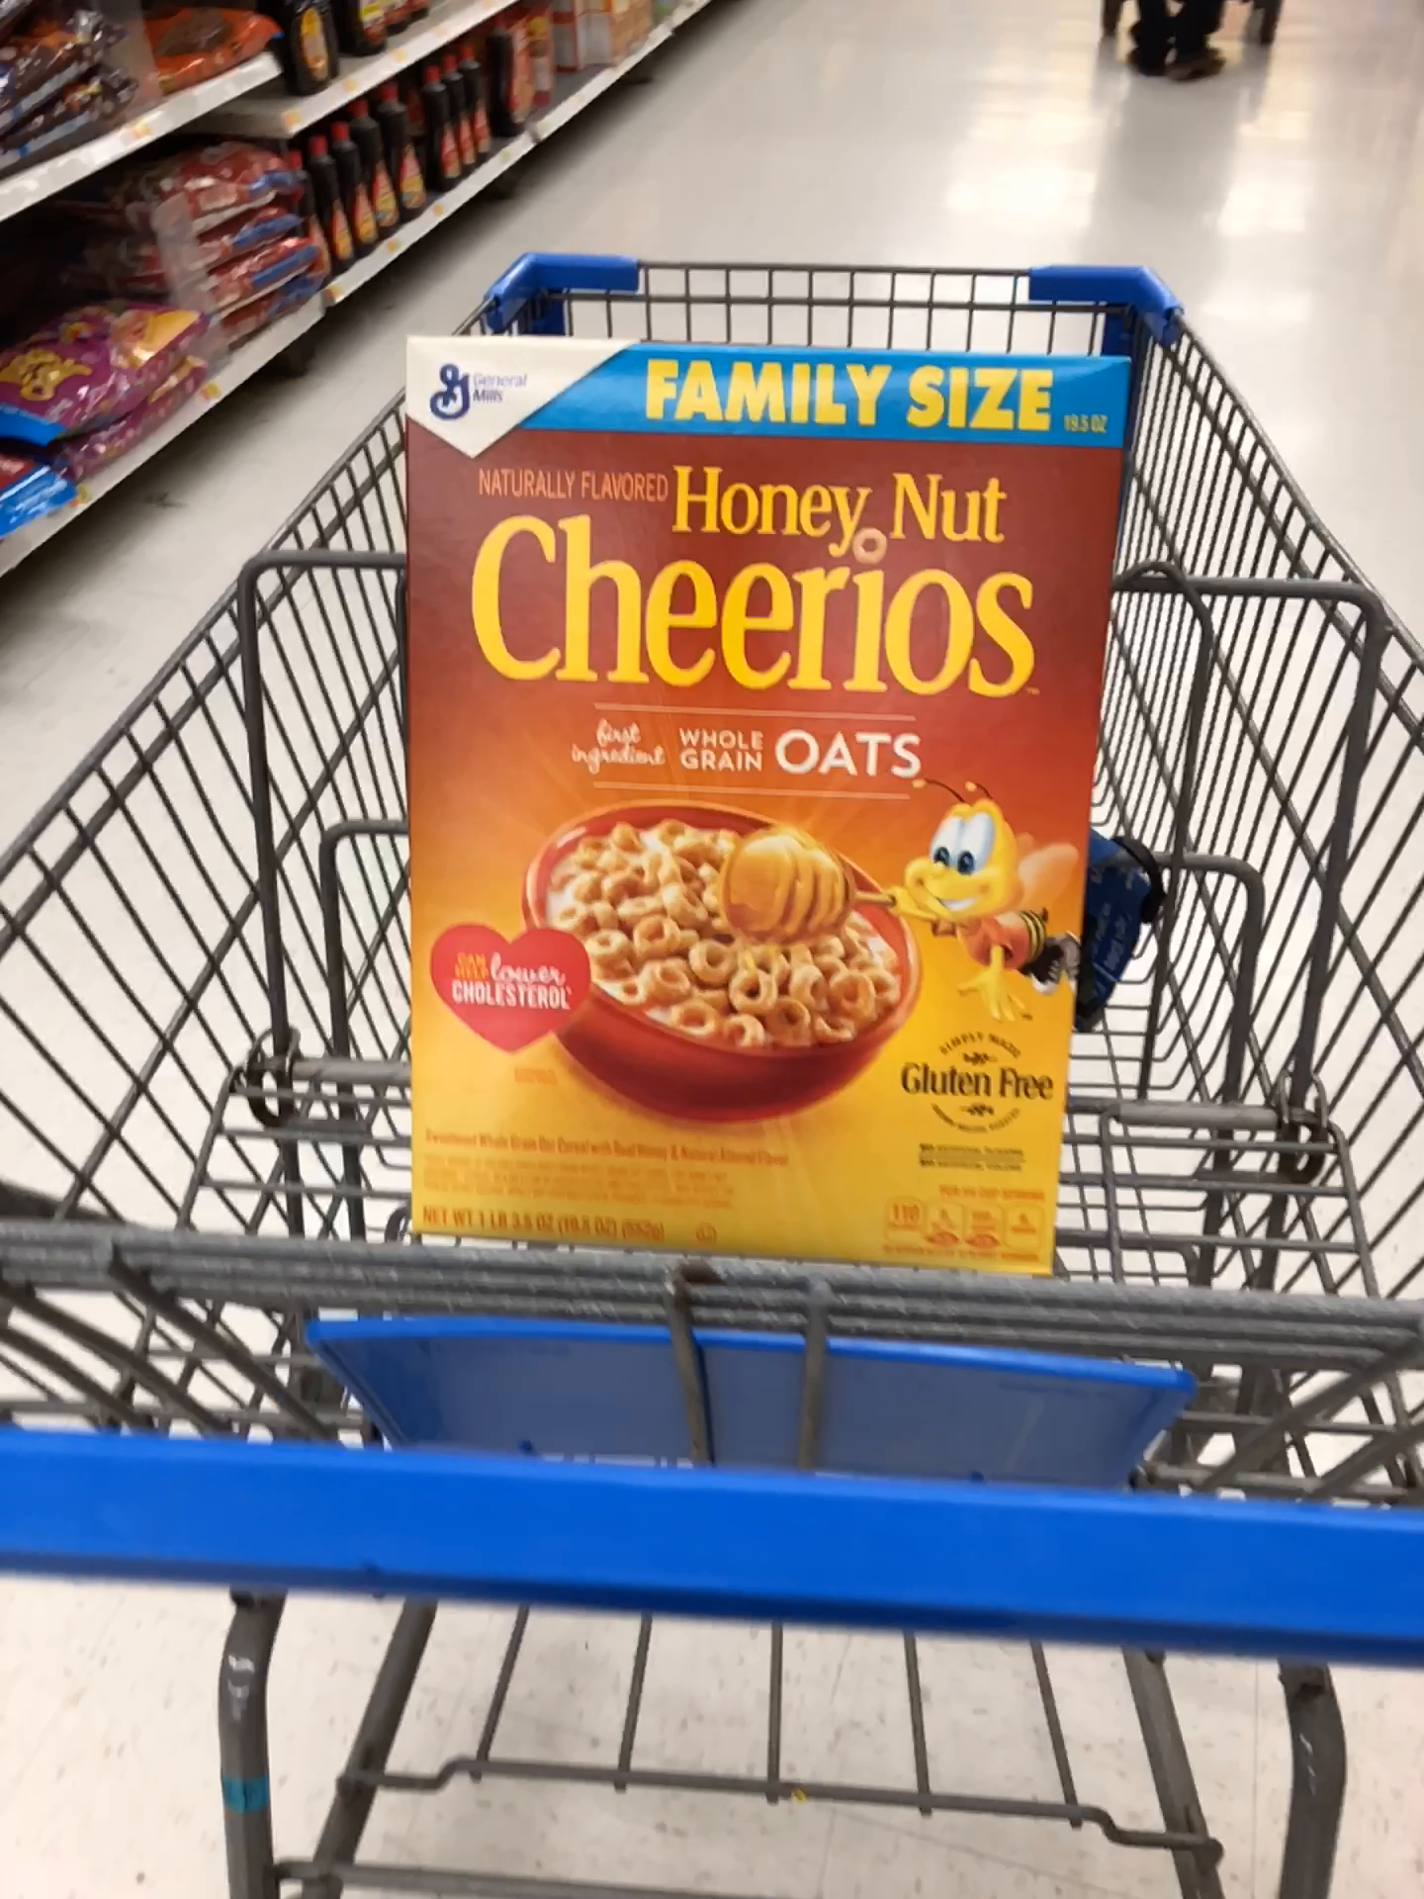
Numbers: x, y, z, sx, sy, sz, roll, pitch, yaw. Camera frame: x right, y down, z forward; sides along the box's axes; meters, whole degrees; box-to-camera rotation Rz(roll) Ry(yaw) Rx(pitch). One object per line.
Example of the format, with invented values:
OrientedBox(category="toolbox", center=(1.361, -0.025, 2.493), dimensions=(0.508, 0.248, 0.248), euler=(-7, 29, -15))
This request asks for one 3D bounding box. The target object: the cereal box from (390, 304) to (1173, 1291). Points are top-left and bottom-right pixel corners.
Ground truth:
OrientedBox(category="cereal box", center=(0.018, -0.051, 0.571), dimensions=(0.250, 0.330, 0.070), euler=(3, 13, 4))
